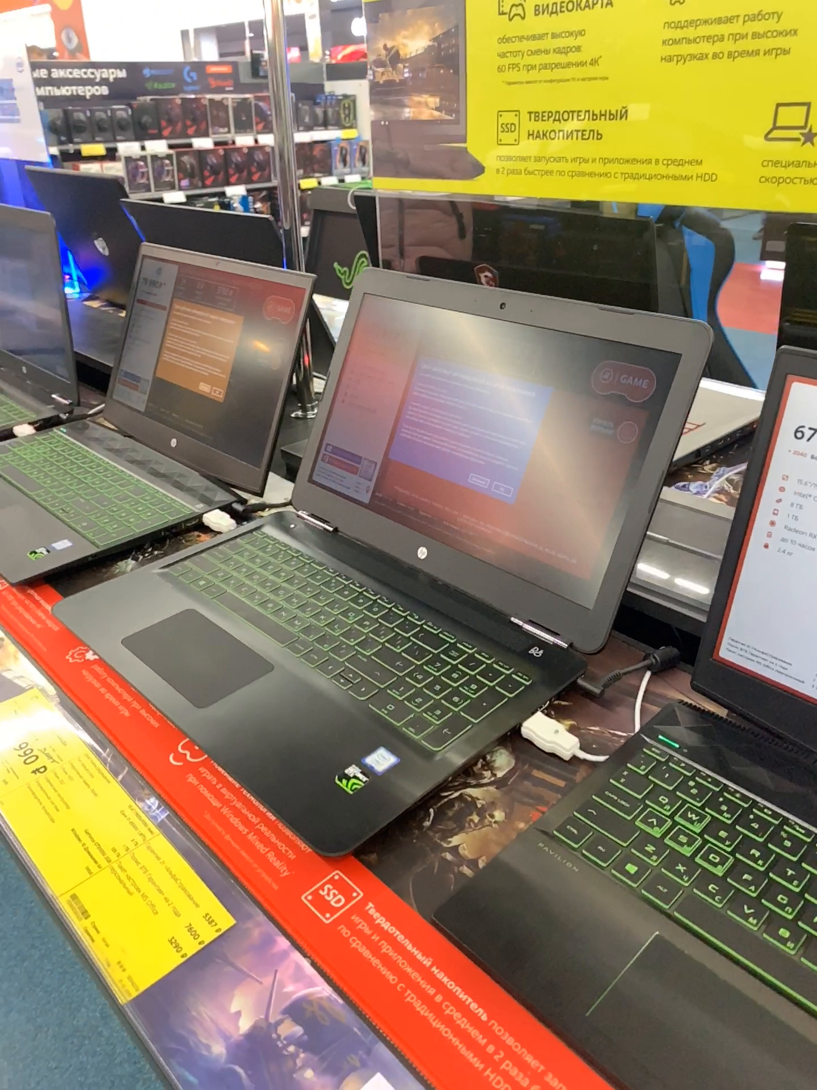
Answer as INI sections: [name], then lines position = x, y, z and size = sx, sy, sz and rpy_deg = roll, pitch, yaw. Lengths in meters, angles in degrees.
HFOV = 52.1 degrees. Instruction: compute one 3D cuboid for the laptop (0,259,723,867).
[laptop]
position = -0.043, -0.054, 0.651
size = 0.379, 0.223, 0.386
rpy_deg = -26, 37, -37
